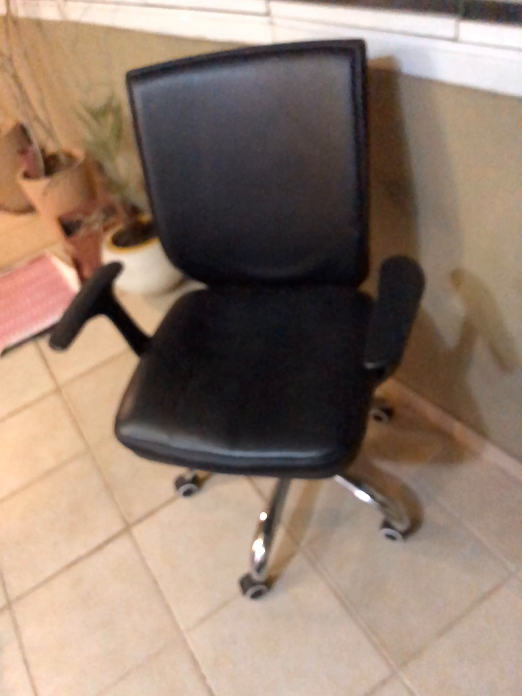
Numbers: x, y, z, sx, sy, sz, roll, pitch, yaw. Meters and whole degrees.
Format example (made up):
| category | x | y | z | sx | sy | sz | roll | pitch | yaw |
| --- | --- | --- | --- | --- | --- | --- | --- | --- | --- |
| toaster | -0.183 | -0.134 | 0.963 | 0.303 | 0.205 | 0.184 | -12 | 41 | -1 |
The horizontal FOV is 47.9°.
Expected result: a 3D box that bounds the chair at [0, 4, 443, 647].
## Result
| category | x | y | z | sx | sy | sz | roll | pitch | yaw |
| --- | --- | --- | --- | --- | --- | --- | --- | --- | --- |
| chair | -0.017 | -0.007 | 1.158 | 0.661 | 0.933 | 0.664 | 3 | 46 | 21 |
